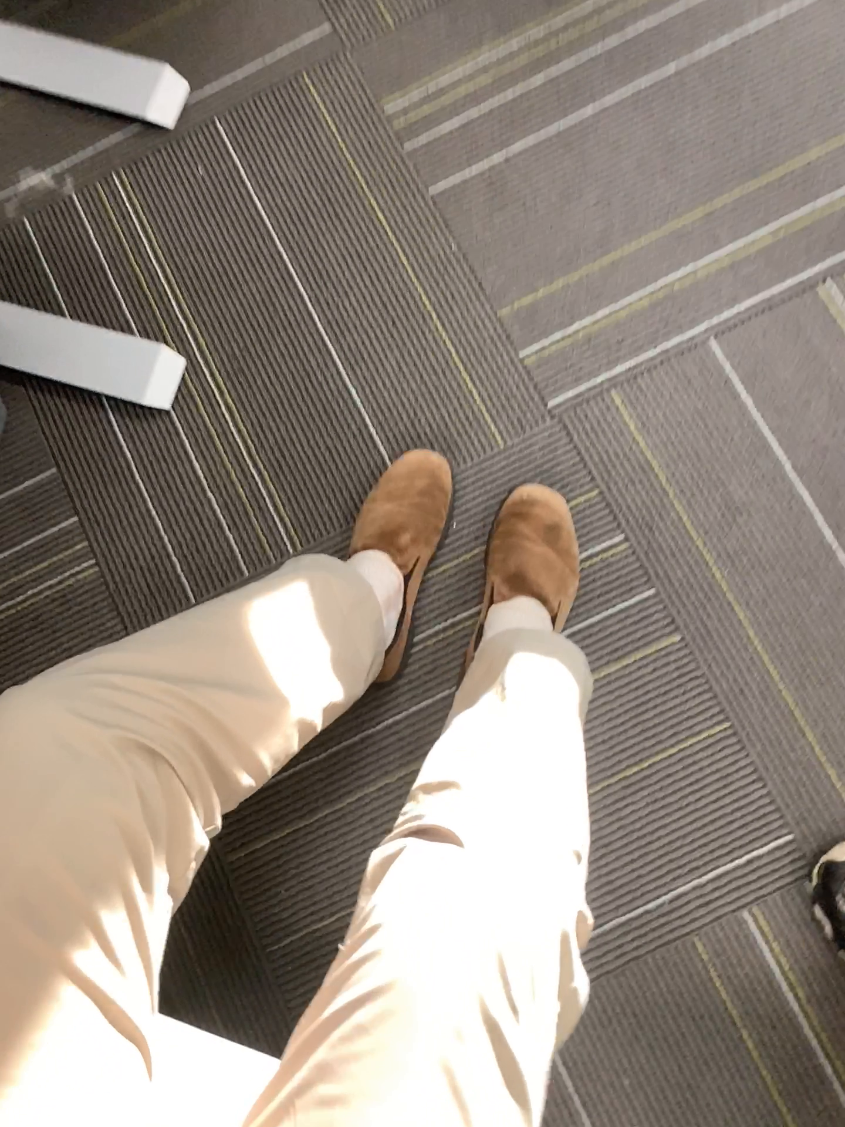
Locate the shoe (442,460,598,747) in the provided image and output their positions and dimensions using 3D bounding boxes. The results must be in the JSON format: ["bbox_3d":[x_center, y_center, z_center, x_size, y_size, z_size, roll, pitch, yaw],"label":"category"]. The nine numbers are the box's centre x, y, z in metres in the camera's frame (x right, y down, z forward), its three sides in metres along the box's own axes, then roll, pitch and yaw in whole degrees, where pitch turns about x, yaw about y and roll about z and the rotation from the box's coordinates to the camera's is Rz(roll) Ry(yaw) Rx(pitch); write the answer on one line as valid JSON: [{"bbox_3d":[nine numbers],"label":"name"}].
[{"bbox_3d":[0.115,0.046,1.005,0.120,0.077,0.307,11,83,8],"label":"shoe"}]

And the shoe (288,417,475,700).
[{"bbox_3d":[-0.044,-0.004,1.028,0.119,0.077,0.307,18,84,9],"label":"shoe"}]
